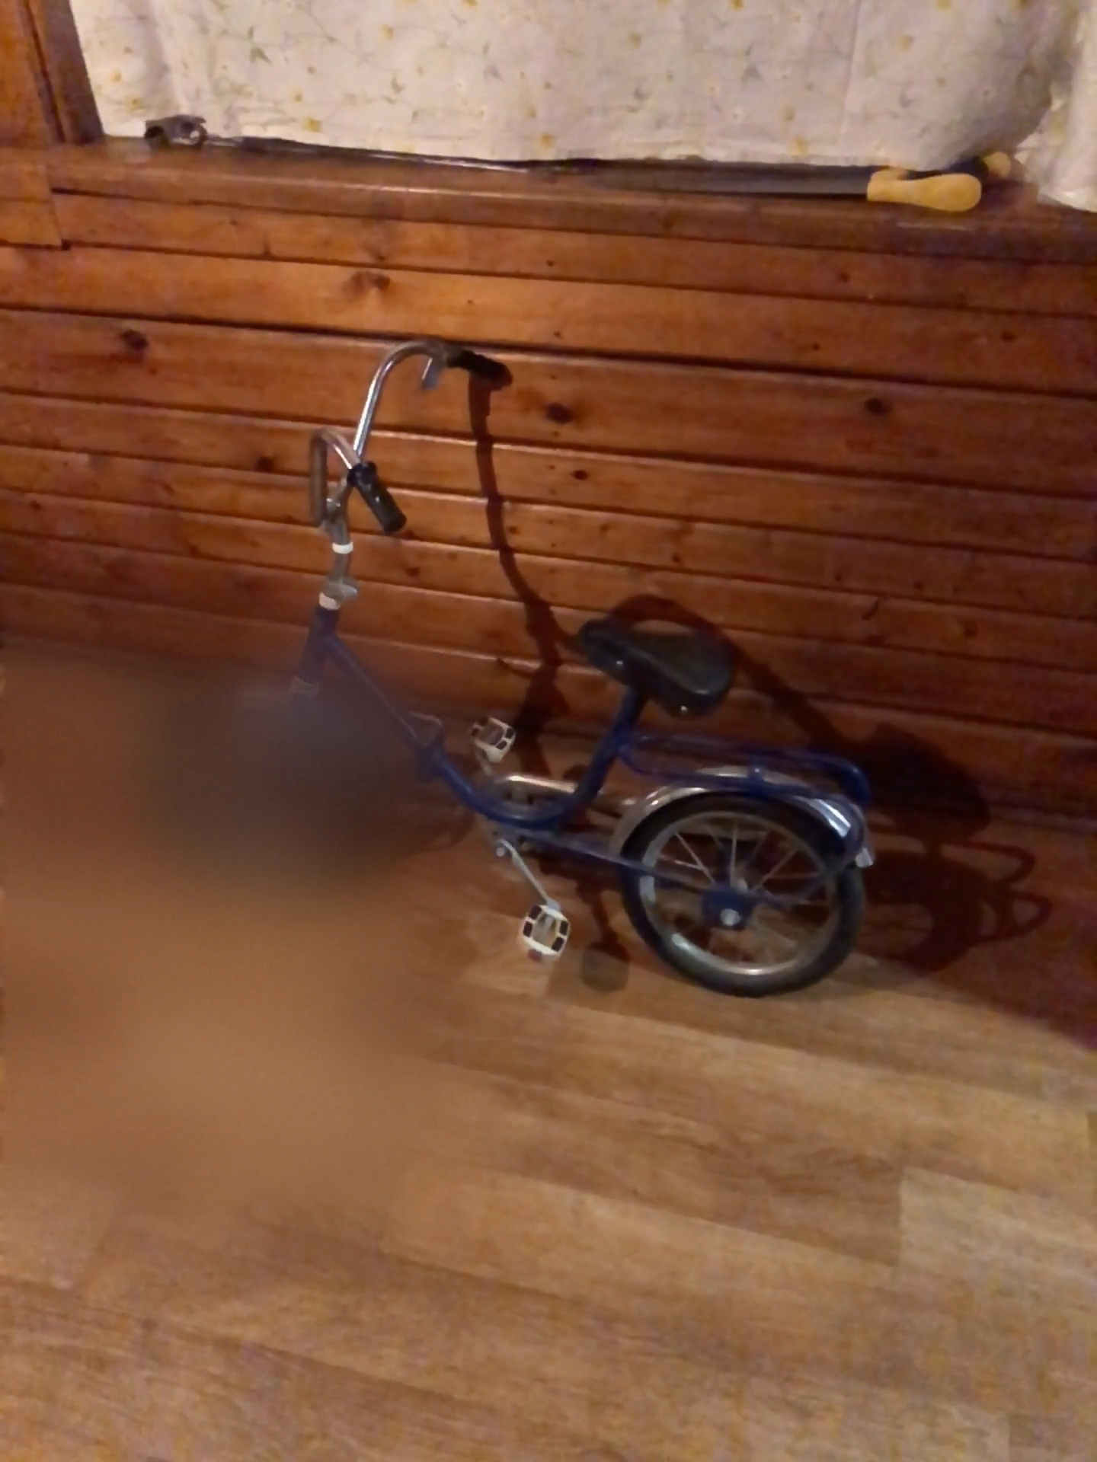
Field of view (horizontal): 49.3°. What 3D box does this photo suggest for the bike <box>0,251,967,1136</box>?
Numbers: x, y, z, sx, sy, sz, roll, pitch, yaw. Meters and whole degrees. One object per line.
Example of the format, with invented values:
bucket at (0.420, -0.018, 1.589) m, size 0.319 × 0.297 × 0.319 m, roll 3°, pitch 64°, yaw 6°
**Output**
bike at (-0.066, -0.069, 1.468) m, size 0.956 × 0.697 × 0.596 m, roll 11°, pitch 43°, yaw 12°
